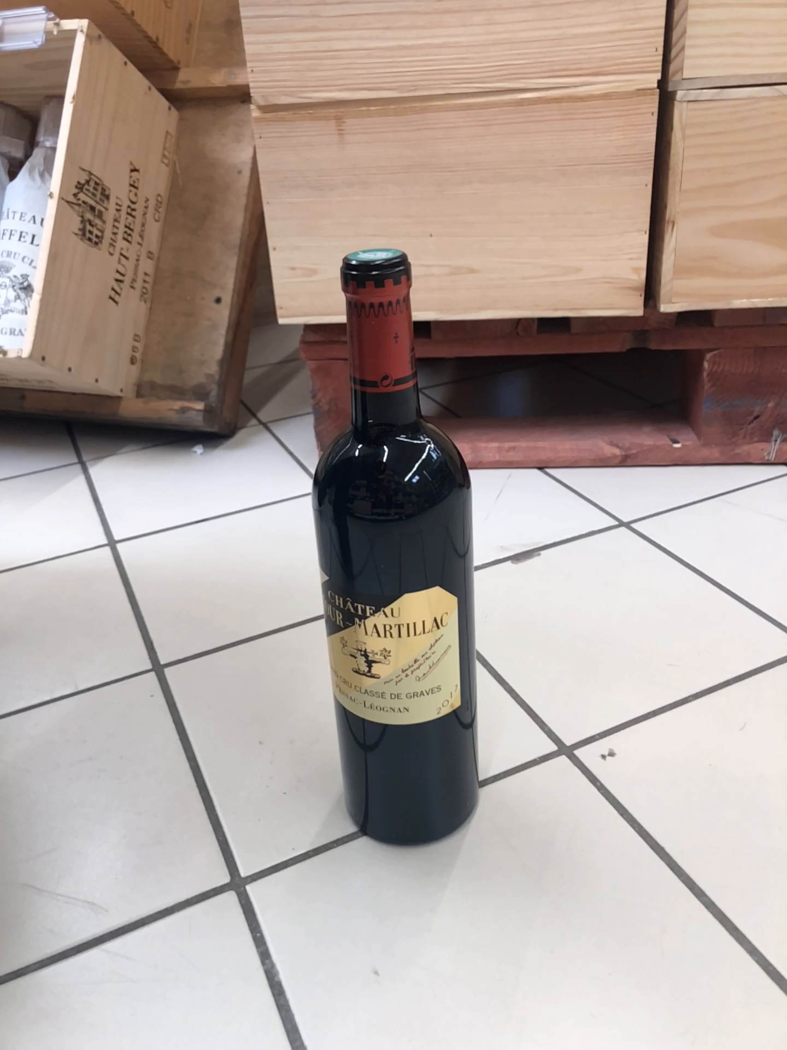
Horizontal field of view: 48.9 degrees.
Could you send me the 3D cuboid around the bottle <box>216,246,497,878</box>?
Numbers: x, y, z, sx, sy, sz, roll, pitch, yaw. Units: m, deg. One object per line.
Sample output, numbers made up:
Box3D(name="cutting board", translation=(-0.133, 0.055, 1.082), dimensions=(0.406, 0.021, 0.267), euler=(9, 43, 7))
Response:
Box3D(name="bottle", translation=(-0.004, 0.023, 0.403), dimensions=(0.080, 0.278, 0.080), euler=(-3, 28, 2))
